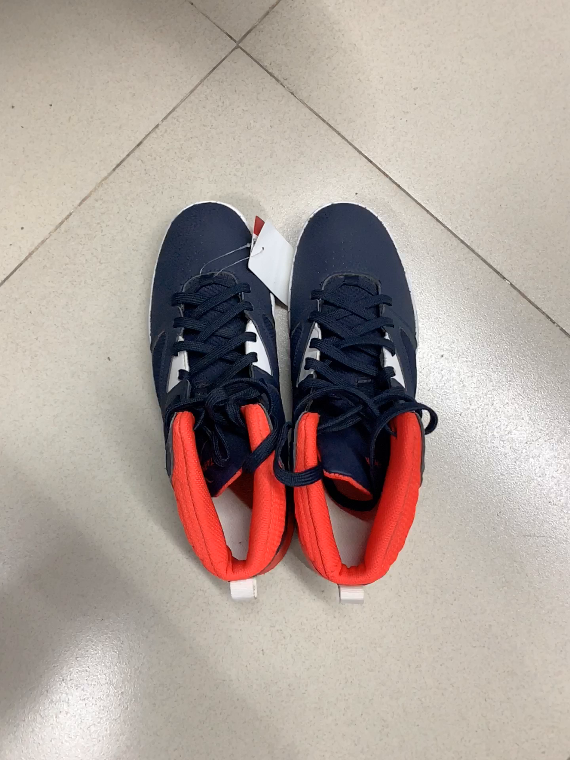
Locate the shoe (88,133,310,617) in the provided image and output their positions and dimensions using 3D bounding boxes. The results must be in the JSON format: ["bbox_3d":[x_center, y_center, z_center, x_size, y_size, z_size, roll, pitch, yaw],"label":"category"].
[{"bbox_3d":[-0.054,-0.003,0.411,0.110,0.100,0.290,-7,84,3],"label":"shoe"}]

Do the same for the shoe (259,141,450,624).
[{"bbox_3d":[0.046,0.001,0.412,0.110,0.120,0.290,1,85,3],"label":"shoe"}]
